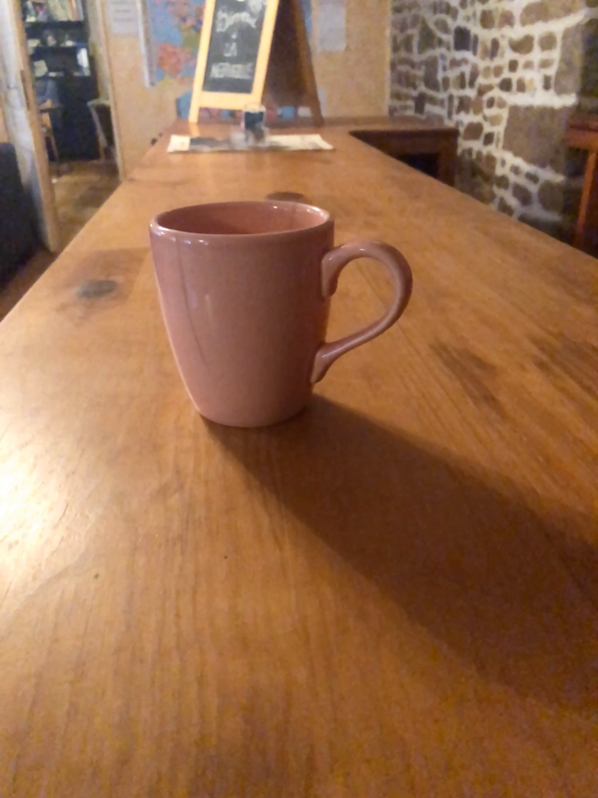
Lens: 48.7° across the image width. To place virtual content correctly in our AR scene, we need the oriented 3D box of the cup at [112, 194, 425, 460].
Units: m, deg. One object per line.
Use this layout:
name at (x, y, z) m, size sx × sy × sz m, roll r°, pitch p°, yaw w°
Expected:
cup at (-0.008, -0.042, 0.326) m, size 0.121 × 0.095 × 0.091 m, roll 7°, pitch 27°, yaw 16°
